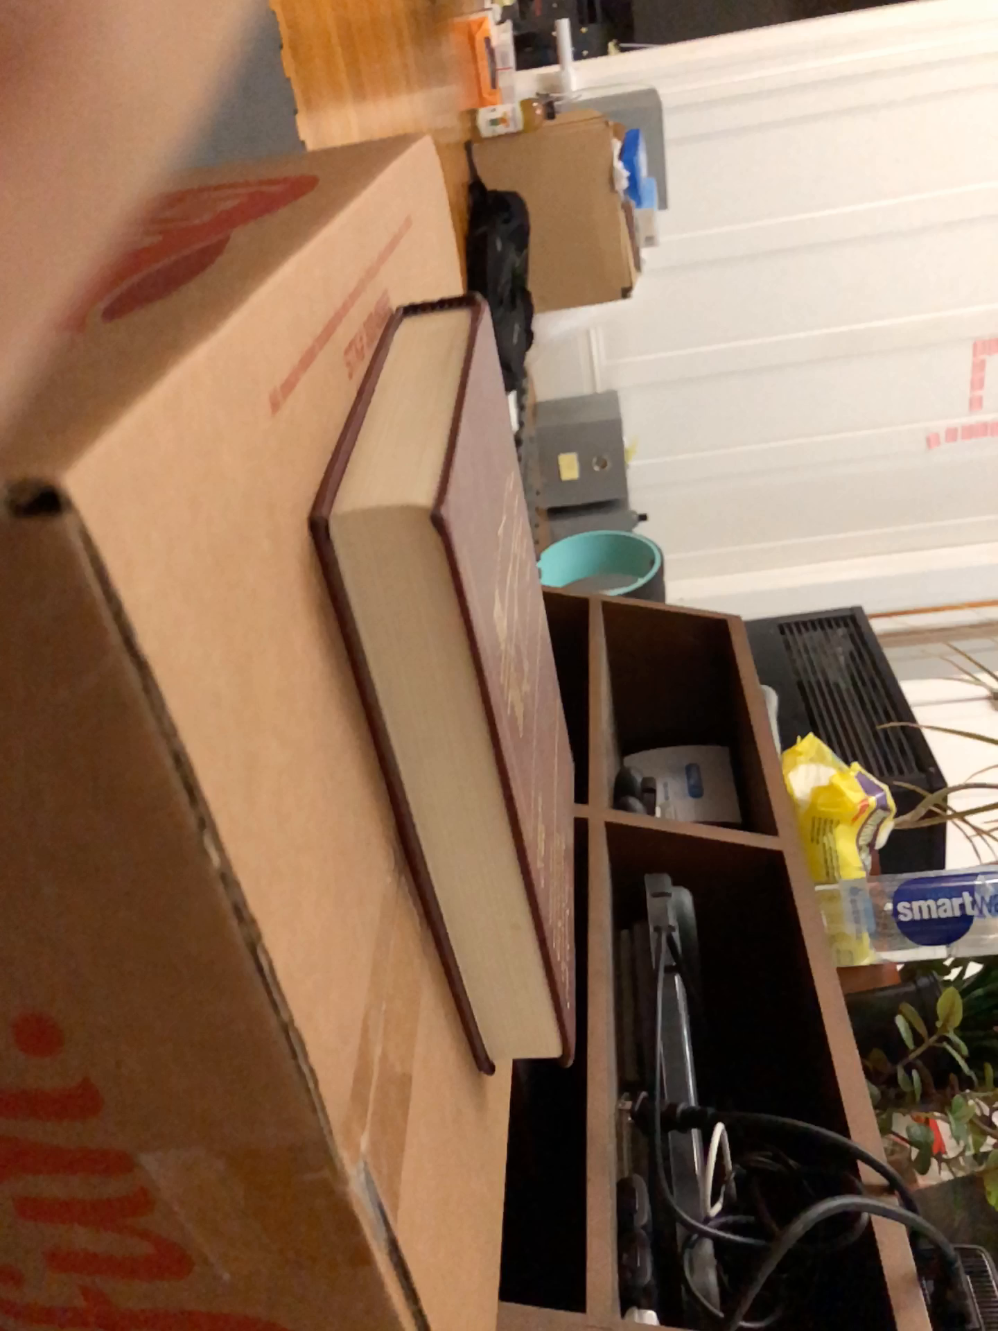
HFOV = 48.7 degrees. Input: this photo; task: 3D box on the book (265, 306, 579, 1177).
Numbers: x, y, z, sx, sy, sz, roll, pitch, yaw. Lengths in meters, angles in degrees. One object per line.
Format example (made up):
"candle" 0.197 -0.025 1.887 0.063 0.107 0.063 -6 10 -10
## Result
"book" -0.008 0.024 0.392 0.190 0.040 0.240 -85 166 -55
